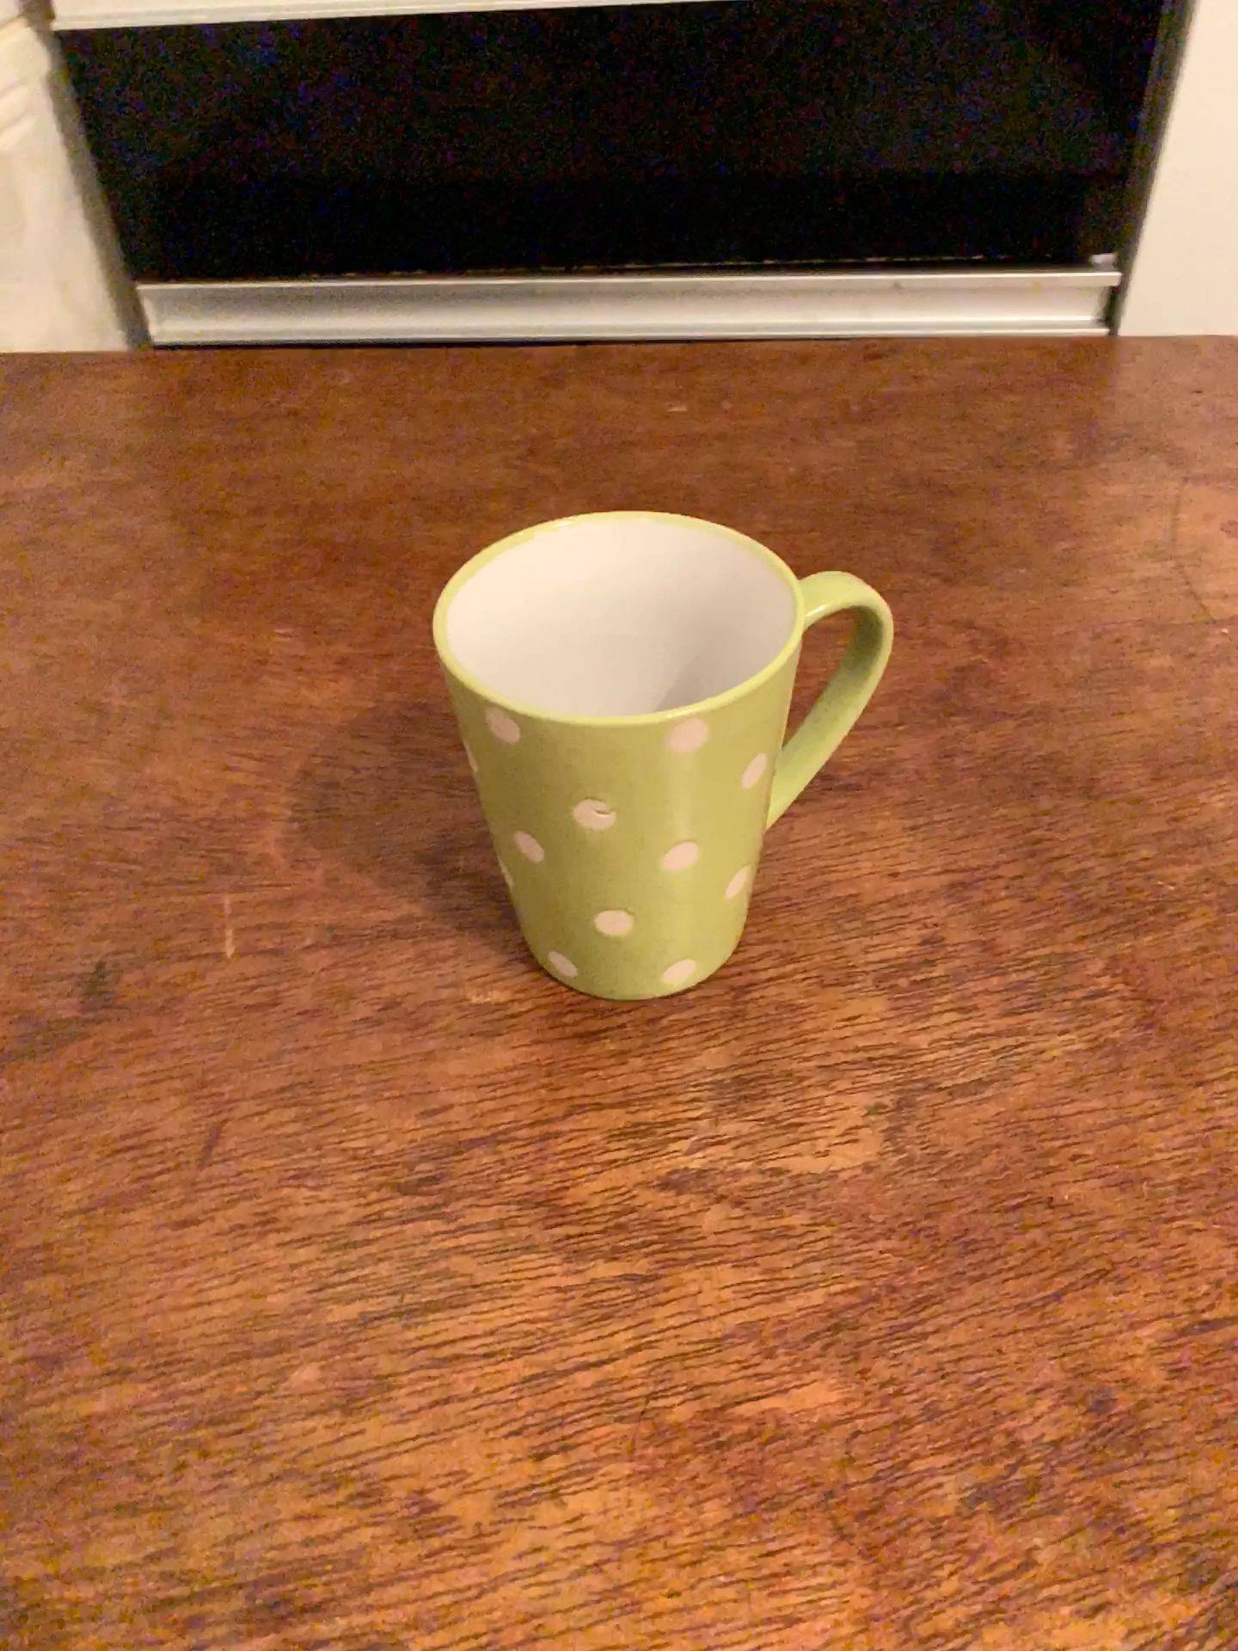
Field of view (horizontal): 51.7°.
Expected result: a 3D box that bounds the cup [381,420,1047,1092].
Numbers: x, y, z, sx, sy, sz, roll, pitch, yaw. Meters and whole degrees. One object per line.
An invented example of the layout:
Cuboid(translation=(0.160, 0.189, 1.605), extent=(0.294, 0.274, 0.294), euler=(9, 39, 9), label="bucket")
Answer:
Cuboid(translation=(0.022, -0.022, 0.322), extent=(0.120, 0.099, 0.090), euler=(-27, 47, -23), label="cup")
